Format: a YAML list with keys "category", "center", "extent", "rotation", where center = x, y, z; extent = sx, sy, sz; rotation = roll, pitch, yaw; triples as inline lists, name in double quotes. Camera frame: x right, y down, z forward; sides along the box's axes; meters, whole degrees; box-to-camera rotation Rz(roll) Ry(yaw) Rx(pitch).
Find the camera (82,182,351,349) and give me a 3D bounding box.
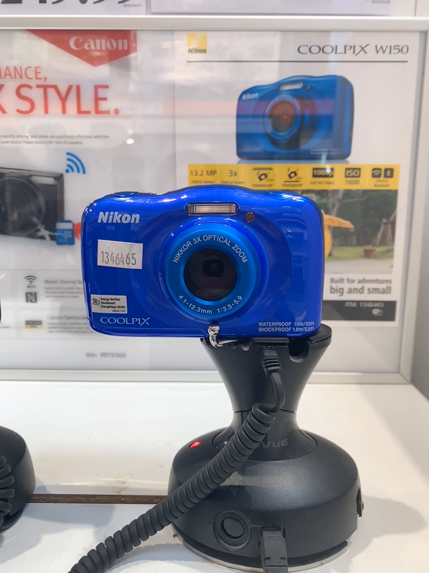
- category: "camera"
  center: [0.001, -0.012, 0.195]
  extent: [0.101, 0.063, 0.046]
  rotation: [1, 10, 3]
